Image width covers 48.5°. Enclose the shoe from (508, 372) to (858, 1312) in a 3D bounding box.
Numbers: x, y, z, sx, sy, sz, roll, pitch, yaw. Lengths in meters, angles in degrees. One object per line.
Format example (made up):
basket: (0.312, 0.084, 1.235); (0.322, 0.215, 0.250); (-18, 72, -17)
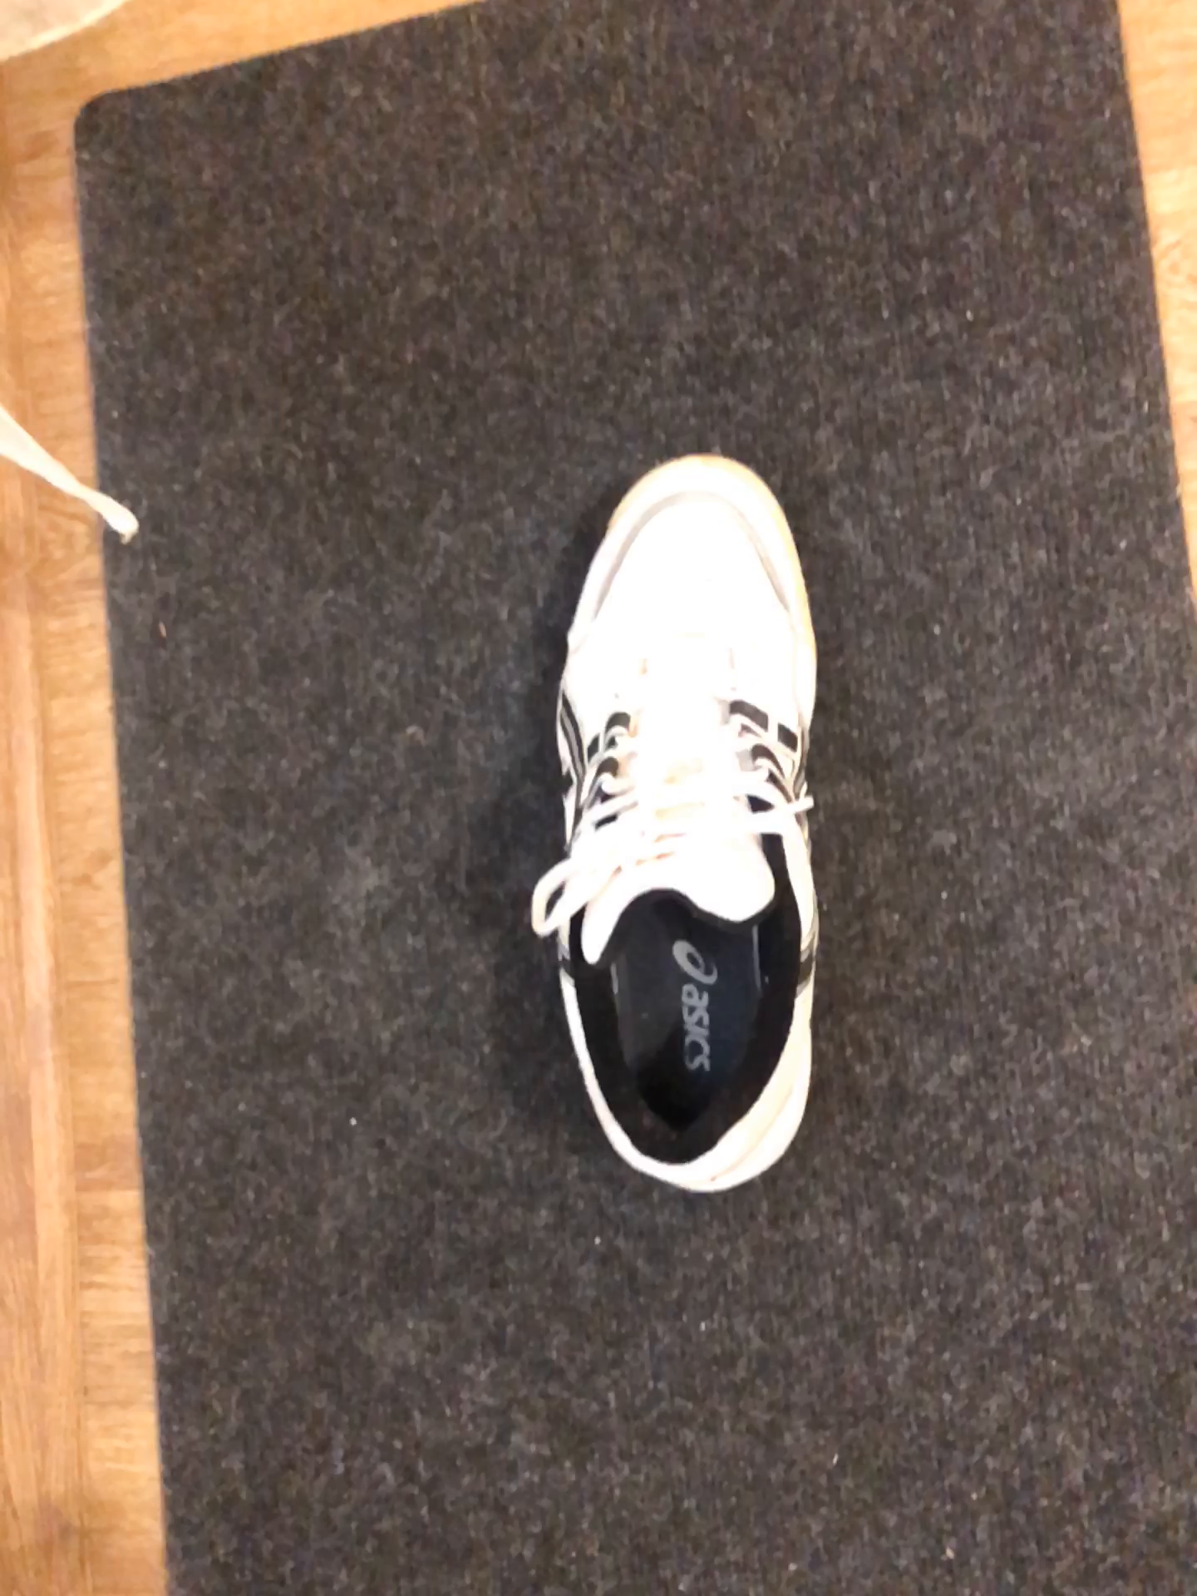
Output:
shoe: (0.034, 0.015, 0.473); (0.100, 0.110, 0.289); (-2, 87, 13)
